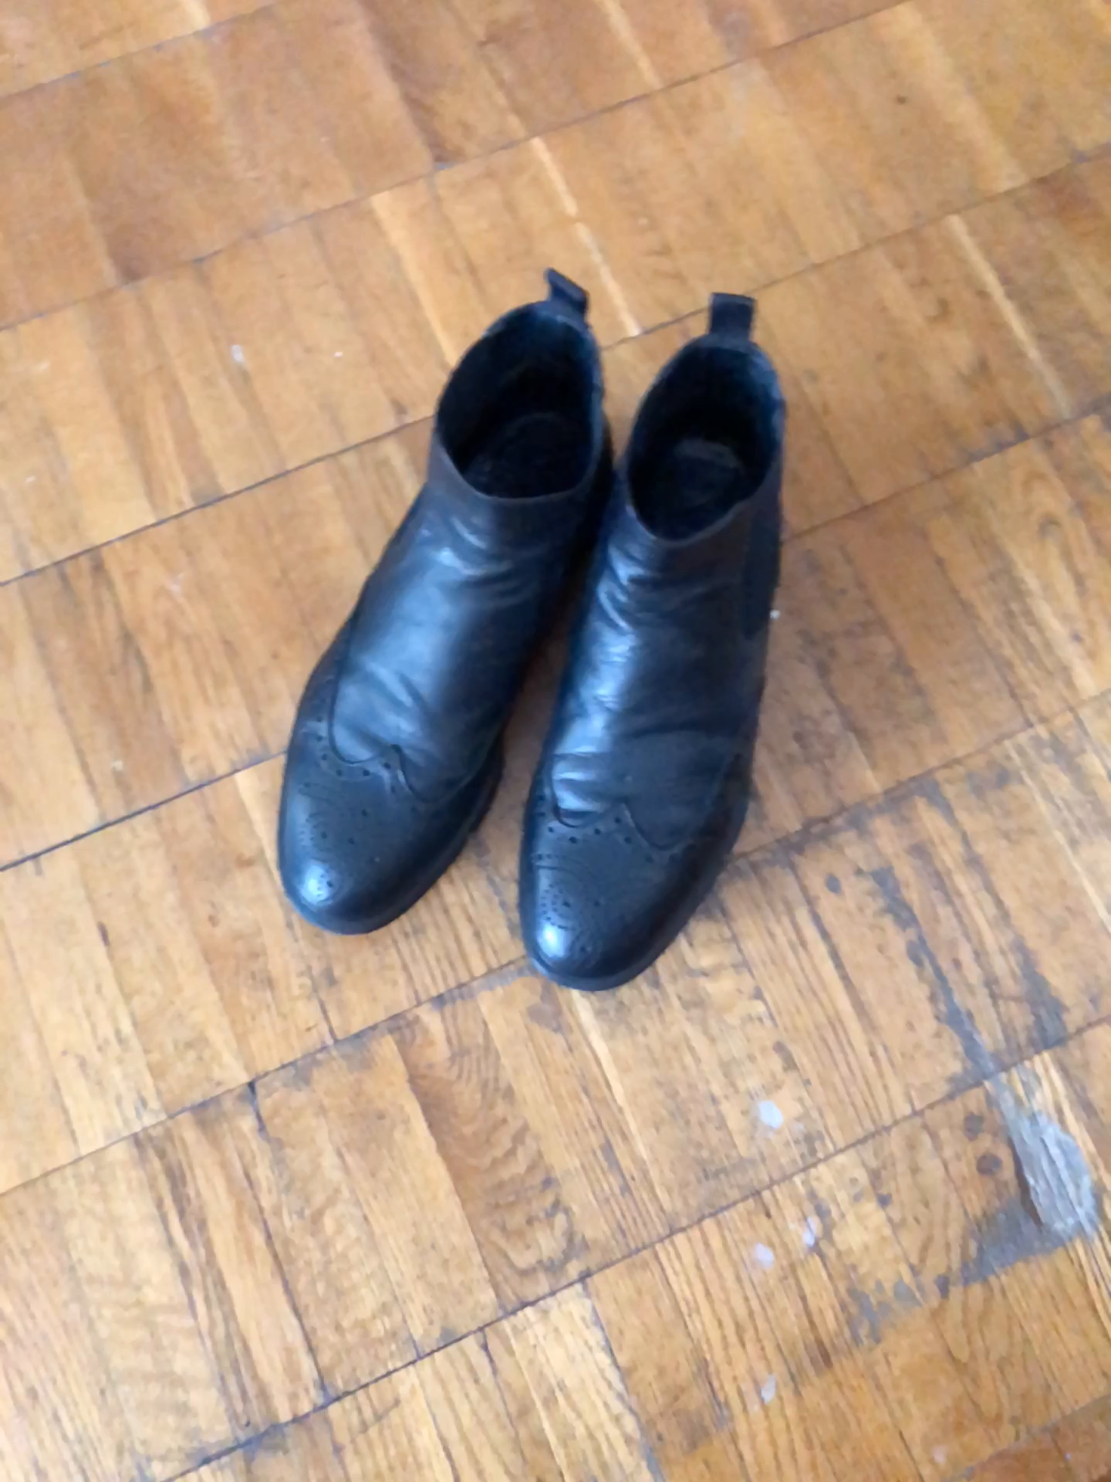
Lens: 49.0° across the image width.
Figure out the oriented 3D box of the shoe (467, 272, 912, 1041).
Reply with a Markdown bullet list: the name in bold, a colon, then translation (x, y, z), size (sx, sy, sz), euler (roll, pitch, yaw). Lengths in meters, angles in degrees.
- **shoe**: translation (0.058, -0.029, 0.550), size (0.110, 0.140, 0.301), euler (15, 76, 3)

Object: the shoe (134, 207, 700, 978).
- **shoe**: translation (-0.049, -0.059, 0.554), size (0.110, 0.140, 0.301), euler (23, 76, 4)
